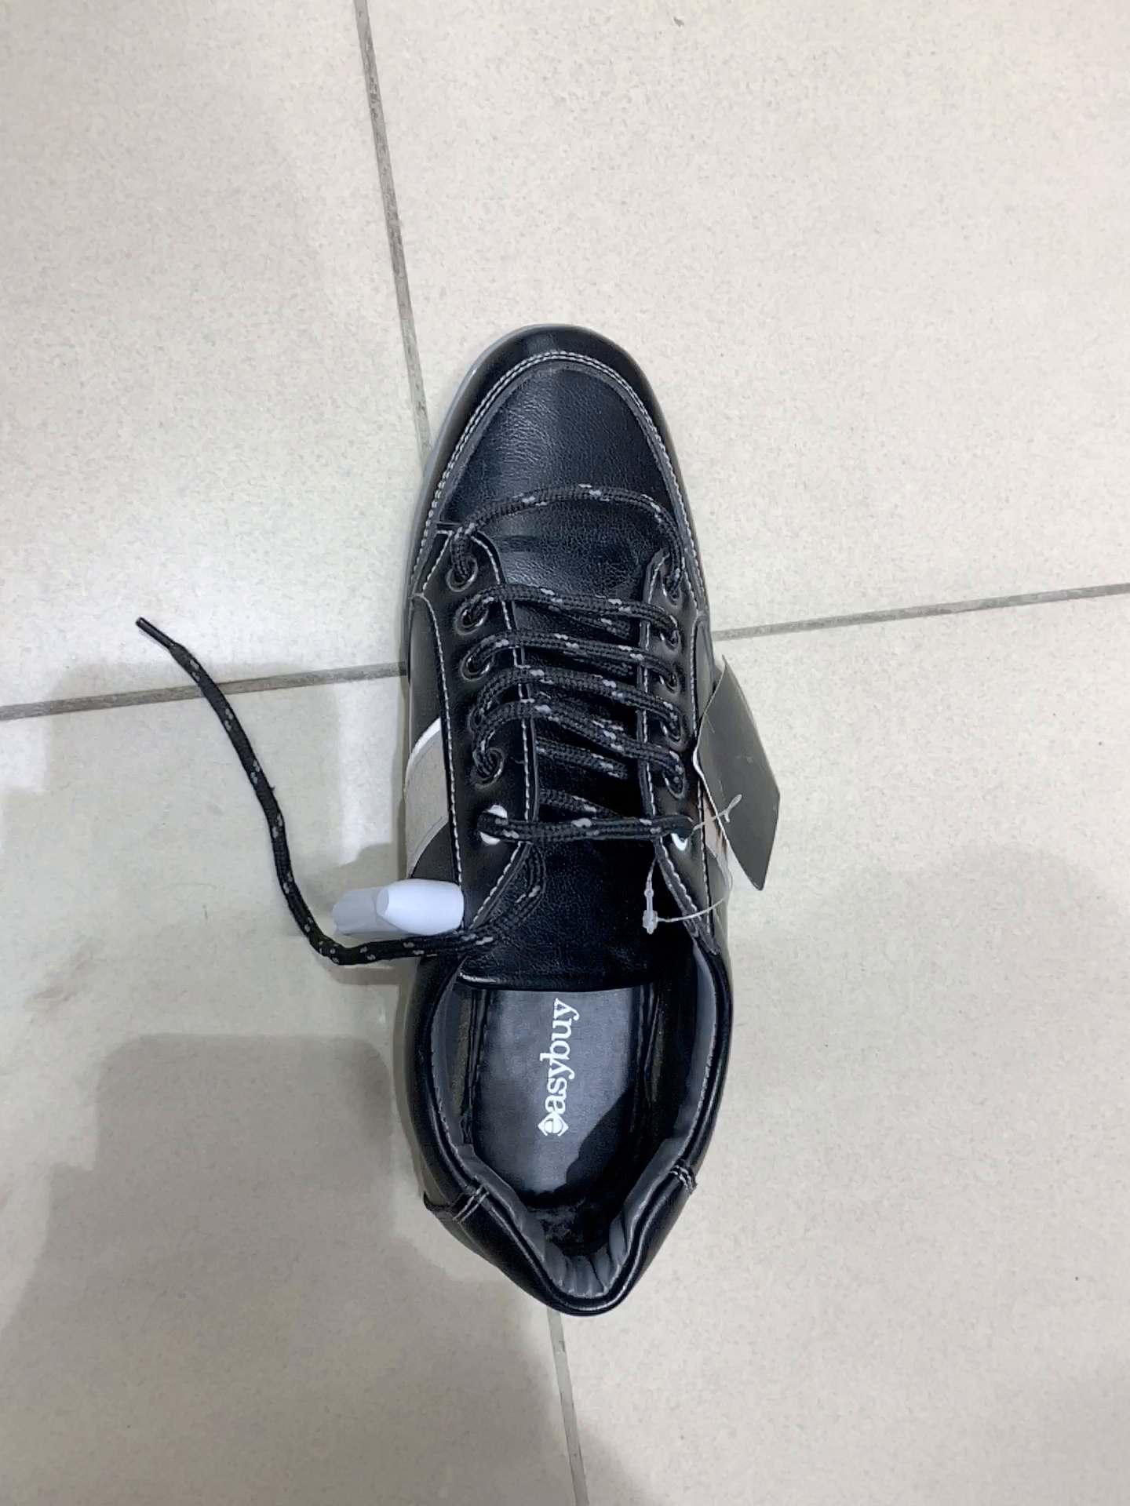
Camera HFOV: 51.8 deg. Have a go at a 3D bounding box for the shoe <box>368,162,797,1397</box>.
[{"bbox_3d":[0.000,0.005,0.338,0.100,0.090,0.300,1,85,-14],"label":"shoe"}]
